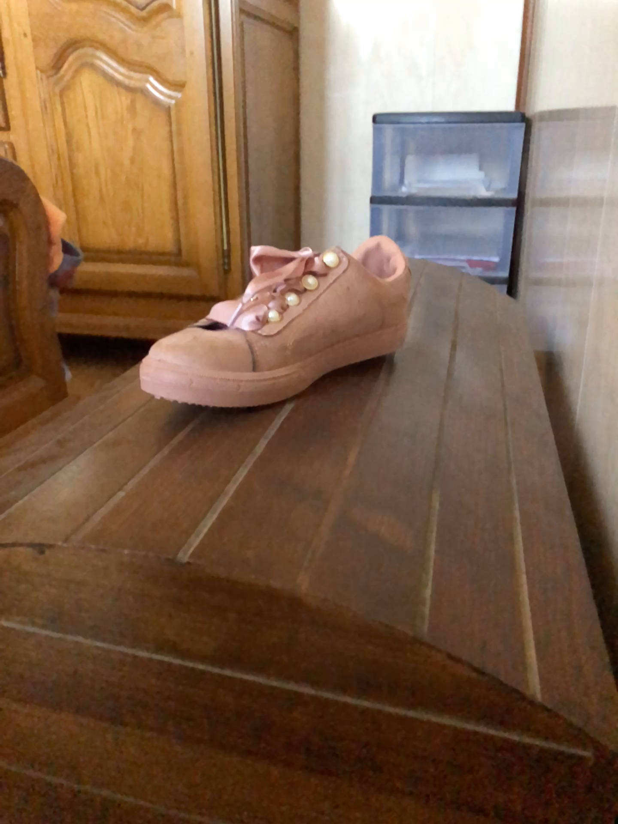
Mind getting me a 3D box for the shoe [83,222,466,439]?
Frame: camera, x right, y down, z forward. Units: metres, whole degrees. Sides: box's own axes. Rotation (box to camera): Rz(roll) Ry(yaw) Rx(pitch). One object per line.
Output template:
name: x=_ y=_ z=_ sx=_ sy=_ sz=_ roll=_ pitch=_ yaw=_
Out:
shoe: x=-0.007 y=-0.079 z=0.507 sx=0.110 sy=0.090 sz=0.281 roll=18 pitch=28 yaw=39
